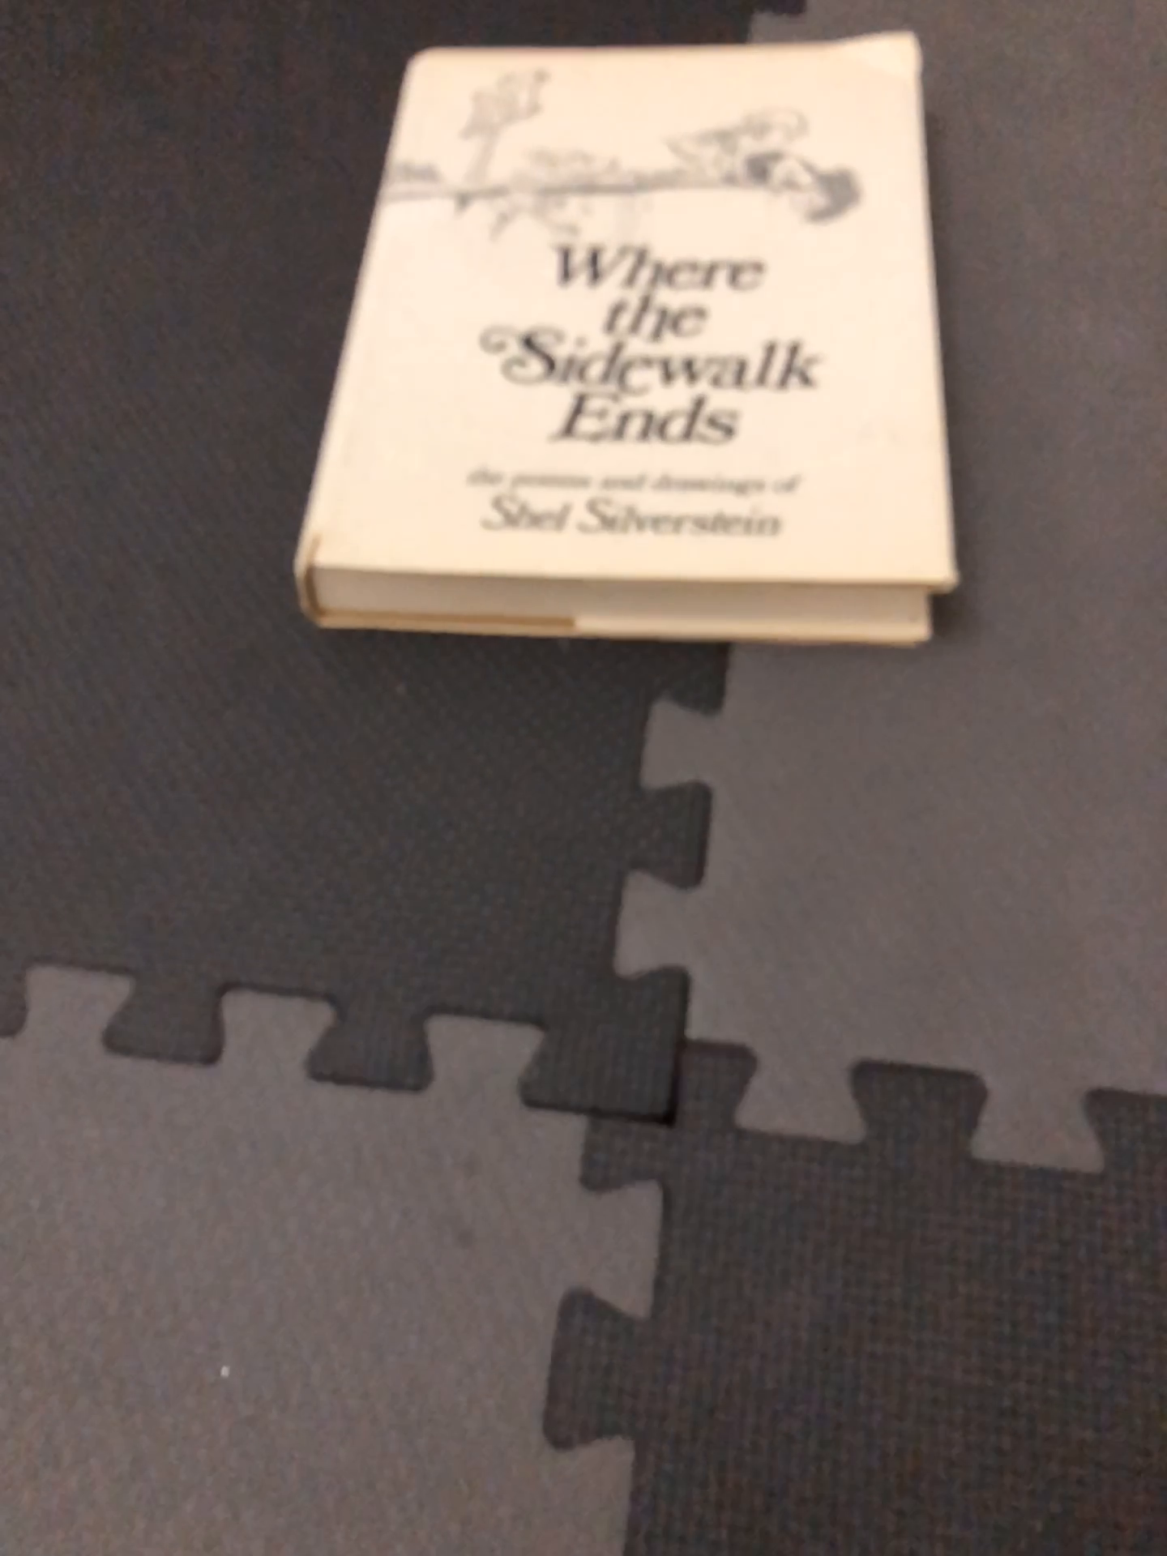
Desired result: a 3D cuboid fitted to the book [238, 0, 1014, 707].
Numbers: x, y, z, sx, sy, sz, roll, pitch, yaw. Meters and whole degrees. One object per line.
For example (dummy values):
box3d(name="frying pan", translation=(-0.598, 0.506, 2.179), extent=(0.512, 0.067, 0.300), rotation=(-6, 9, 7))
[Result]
box3d(name="book", translation=(0.022, -0.153, 0.421), extent=(0.200, 0.030, 0.281), rotation=(3, 61, 7))
